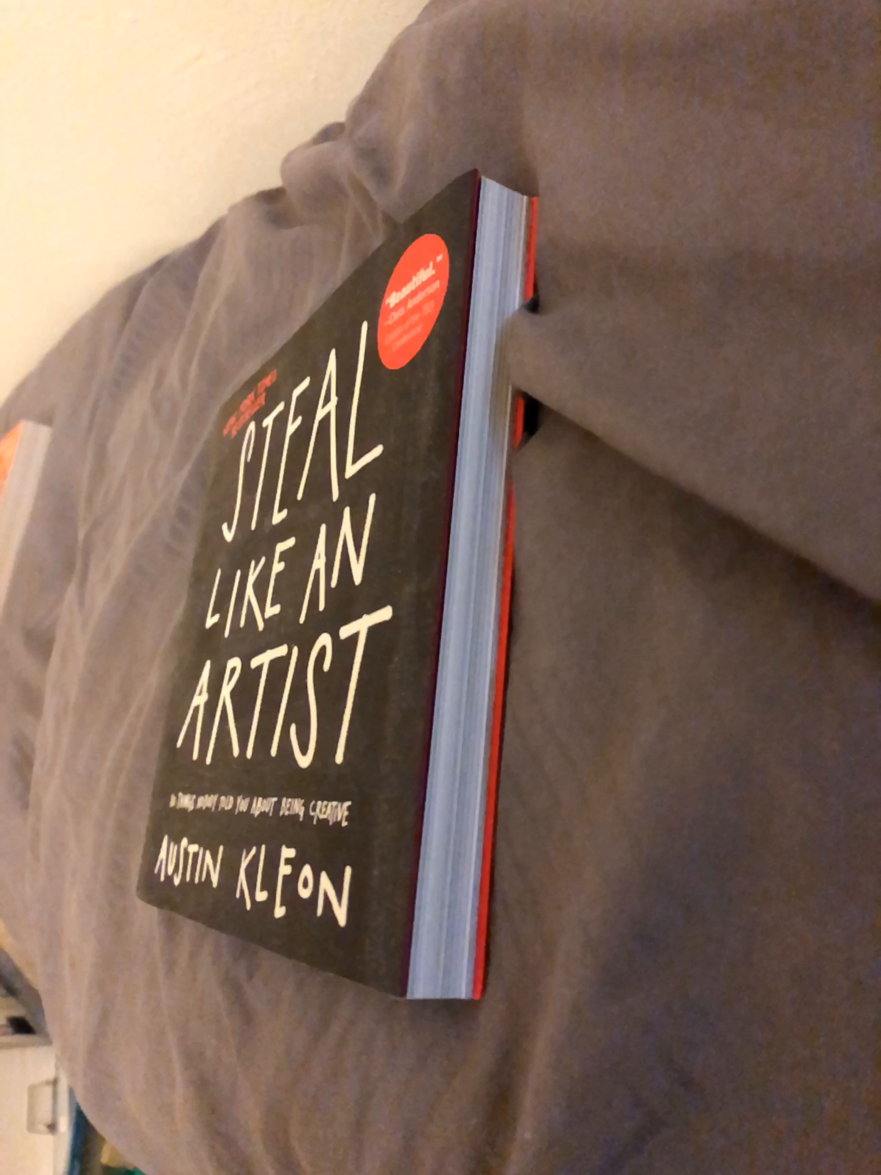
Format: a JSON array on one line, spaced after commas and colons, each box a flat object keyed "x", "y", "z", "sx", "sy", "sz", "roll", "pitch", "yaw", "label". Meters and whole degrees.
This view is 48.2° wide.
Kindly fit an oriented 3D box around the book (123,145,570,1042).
[{"x": -0.033, "y": 0.007, "z": 0.241, "sx": 0.161, "sy": 0.020, "sz": 0.160, "roll": -16, "pitch": 65, "yaw": 56, "label": "book"}]
